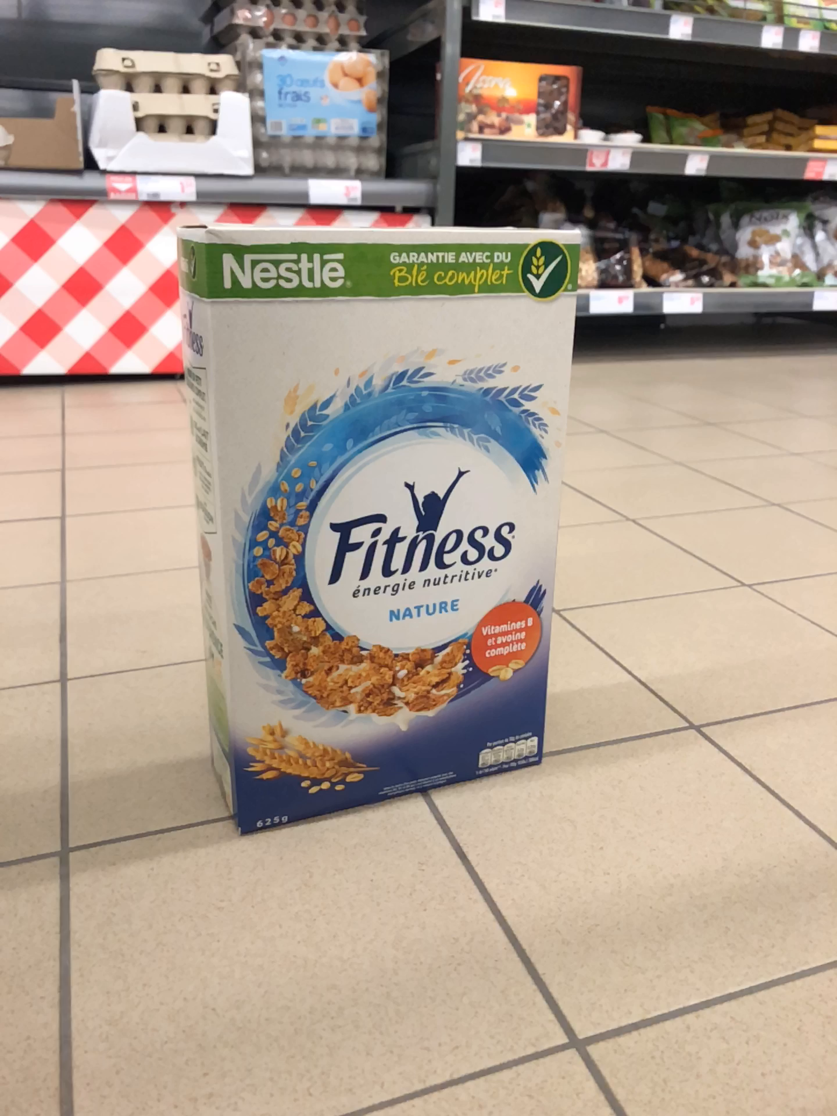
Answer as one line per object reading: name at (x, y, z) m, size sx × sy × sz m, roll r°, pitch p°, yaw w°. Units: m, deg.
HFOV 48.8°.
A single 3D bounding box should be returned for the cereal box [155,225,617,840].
cereal box at (-0.019, -0.021, 0.507) m, size 0.211 × 0.299 × 0.090 m, roll -7°, pitch 21°, yaw -22°
